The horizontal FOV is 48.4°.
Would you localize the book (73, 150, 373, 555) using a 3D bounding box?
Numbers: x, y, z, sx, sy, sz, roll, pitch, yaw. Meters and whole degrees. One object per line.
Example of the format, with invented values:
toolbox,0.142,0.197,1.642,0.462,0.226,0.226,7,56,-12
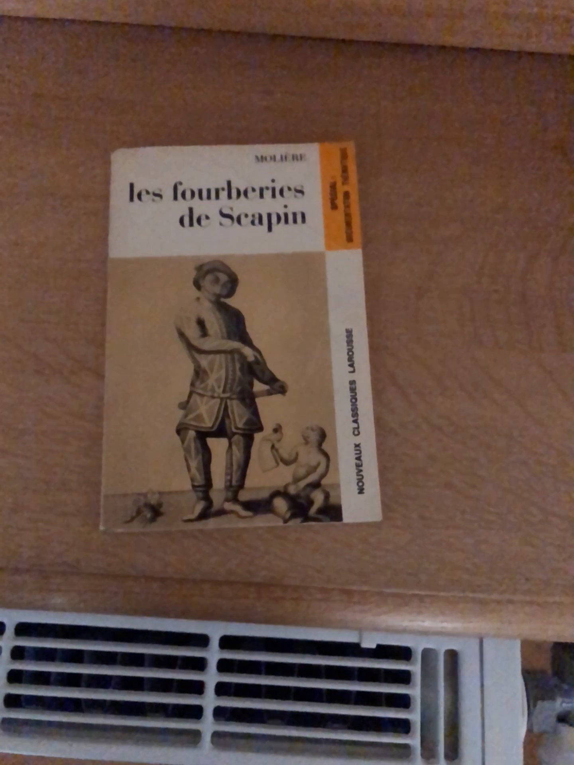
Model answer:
book,-0.028,-0.018,0.277,0.117,0.015,0.174,-2,76,-2
